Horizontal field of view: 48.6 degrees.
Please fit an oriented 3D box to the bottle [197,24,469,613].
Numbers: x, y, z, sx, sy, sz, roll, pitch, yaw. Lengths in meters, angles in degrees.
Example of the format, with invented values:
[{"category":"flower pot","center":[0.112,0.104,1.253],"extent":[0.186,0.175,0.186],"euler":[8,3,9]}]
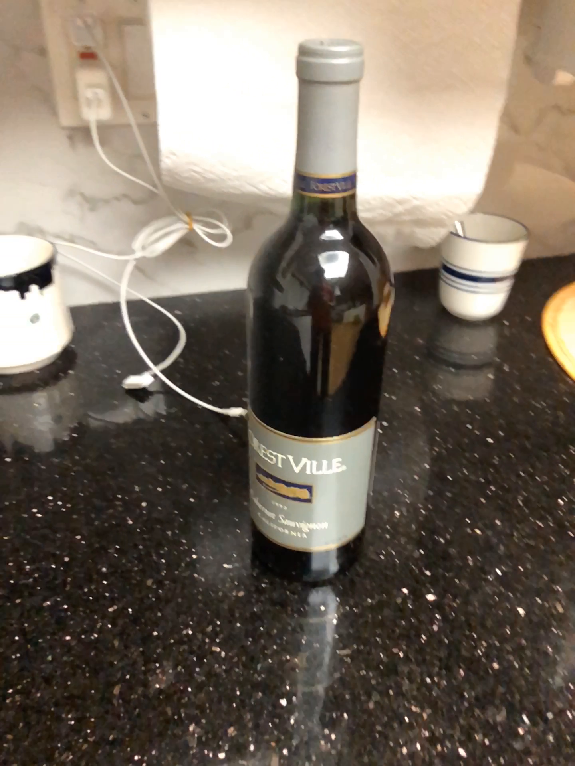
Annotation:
[{"category":"bottle","center":[0.019,-0.020,0.347],"extent":[0.080,0.298,0.090],"euler":[20,38,25]}]
